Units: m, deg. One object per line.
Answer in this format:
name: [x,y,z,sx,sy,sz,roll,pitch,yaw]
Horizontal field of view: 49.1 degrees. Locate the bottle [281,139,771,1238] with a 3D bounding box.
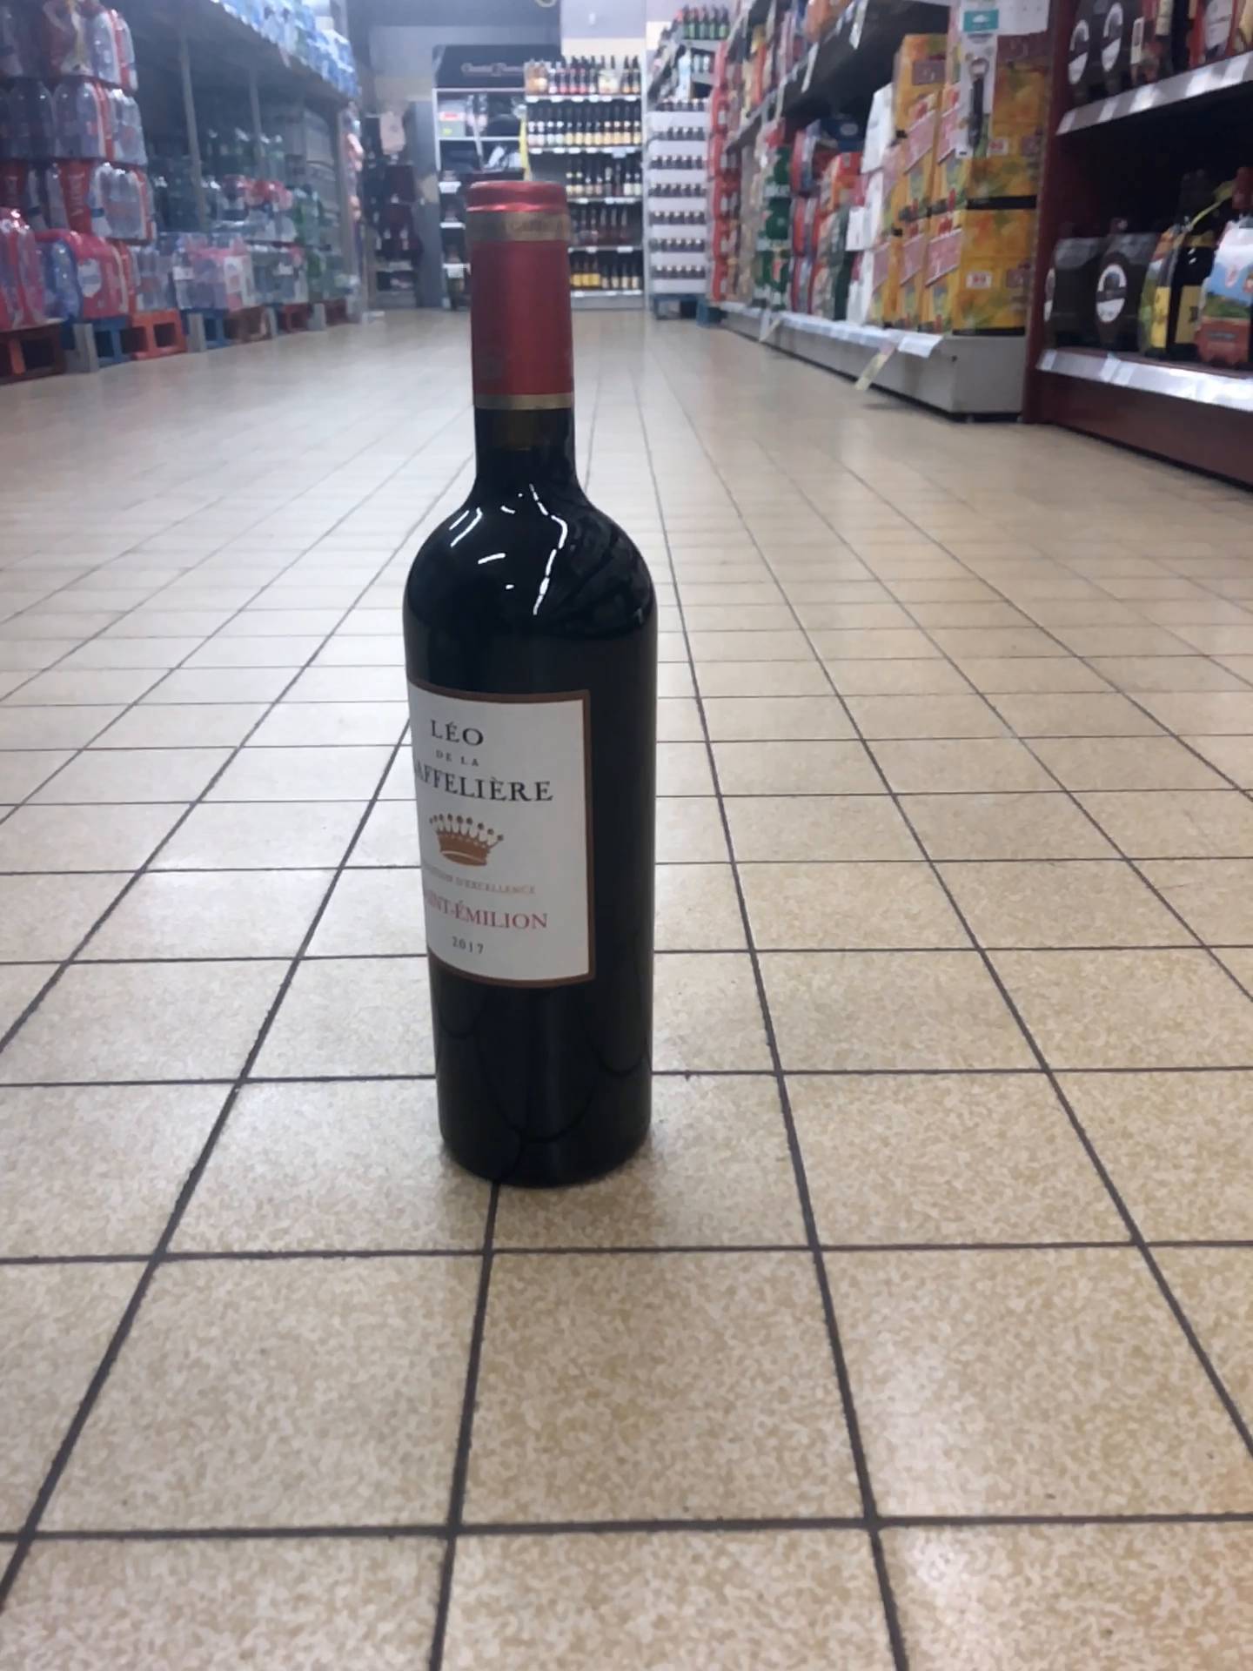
bottle: [-0.025,-0.040,0.409,0.090,0.287,0.090,0,21,0]
